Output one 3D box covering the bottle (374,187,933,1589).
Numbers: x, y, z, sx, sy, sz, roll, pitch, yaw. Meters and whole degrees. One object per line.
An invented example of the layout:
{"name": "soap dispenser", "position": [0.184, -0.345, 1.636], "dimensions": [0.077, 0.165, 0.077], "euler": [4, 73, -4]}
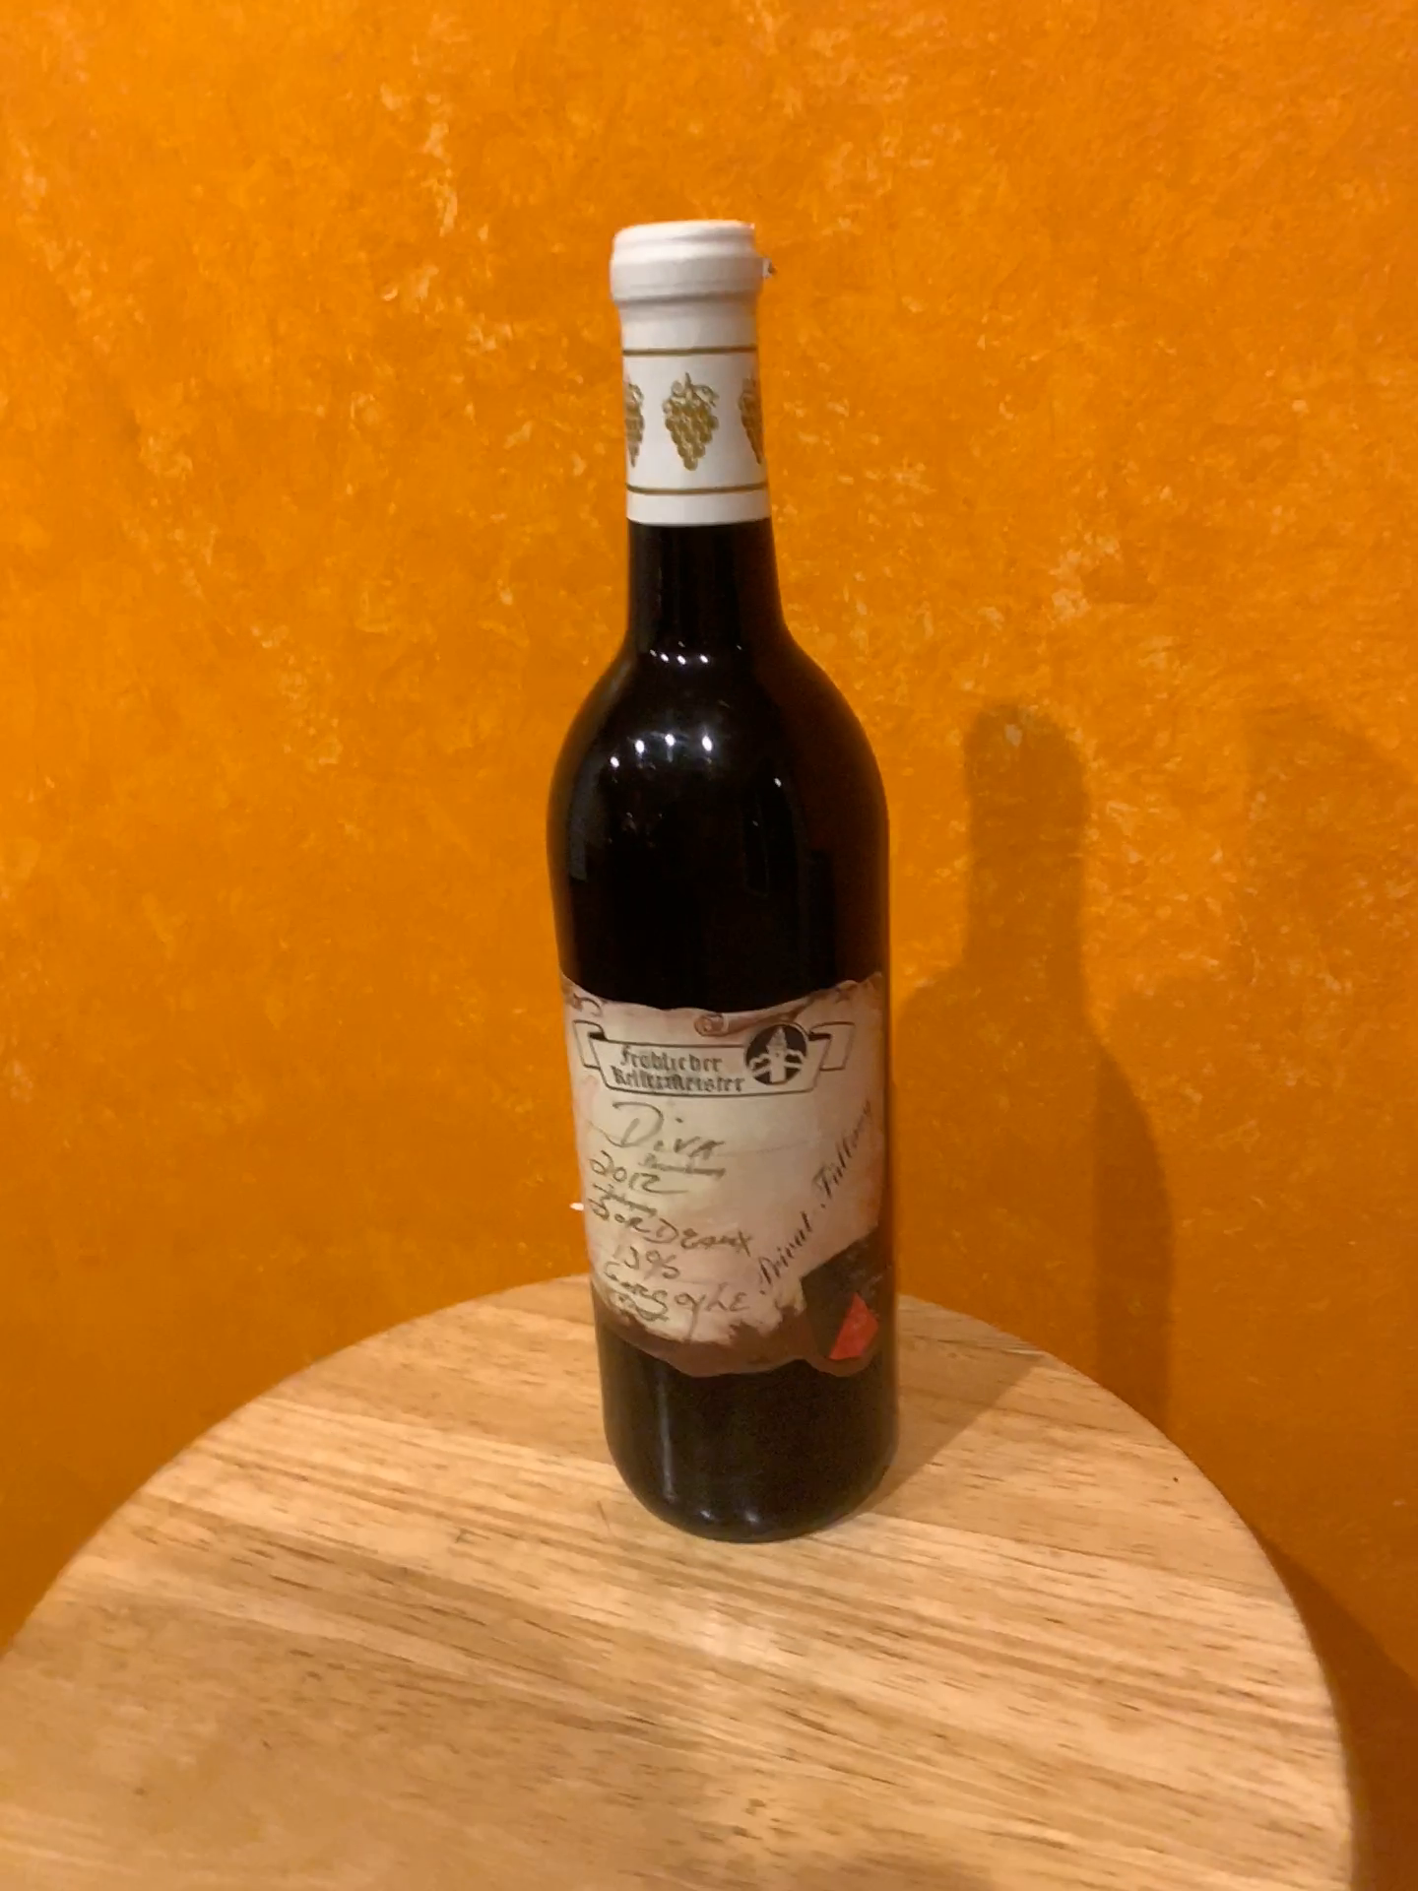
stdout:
{"name": "bottle", "position": [0.001, -0.002, 0.326], "dimensions": [0.080, 0.289, 0.070], "euler": [5, 24, 21]}
